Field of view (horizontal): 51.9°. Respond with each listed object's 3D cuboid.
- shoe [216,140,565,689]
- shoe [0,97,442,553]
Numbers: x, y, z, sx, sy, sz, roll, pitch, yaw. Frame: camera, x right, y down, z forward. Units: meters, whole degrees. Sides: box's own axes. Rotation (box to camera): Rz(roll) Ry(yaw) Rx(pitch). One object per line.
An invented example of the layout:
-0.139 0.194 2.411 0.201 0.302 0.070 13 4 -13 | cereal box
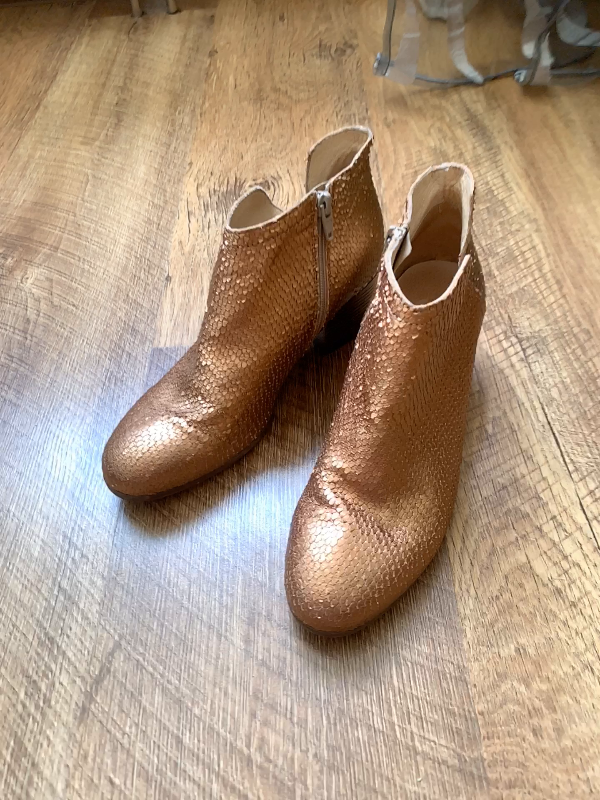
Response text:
0.055 -0.004 0.297 0.080 0.129 0.221 15 53 16 | shoe
-0.030 -0.046 0.334 0.080 0.129 0.220 36 61 29 | shoe
